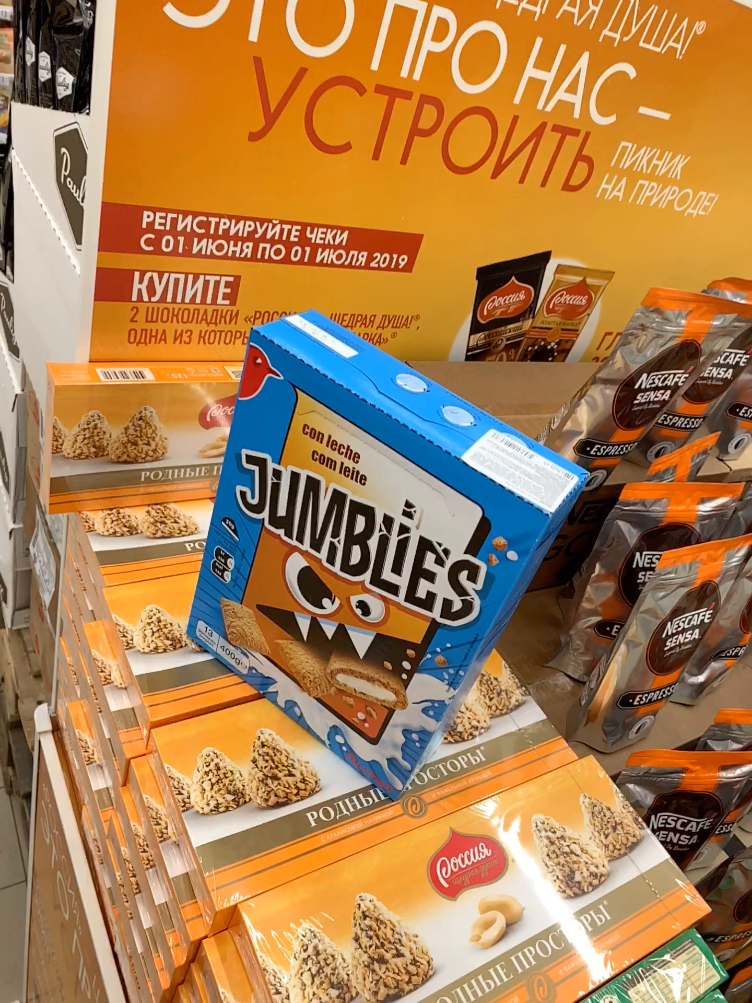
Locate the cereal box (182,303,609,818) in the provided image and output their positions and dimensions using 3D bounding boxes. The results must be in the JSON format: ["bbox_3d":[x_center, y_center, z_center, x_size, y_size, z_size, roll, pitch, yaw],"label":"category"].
[{"bbox_3d":[-0.010,0.044,0.485,0.200,0.258,0.060,33,37,18],"label":"cereal box"}]
